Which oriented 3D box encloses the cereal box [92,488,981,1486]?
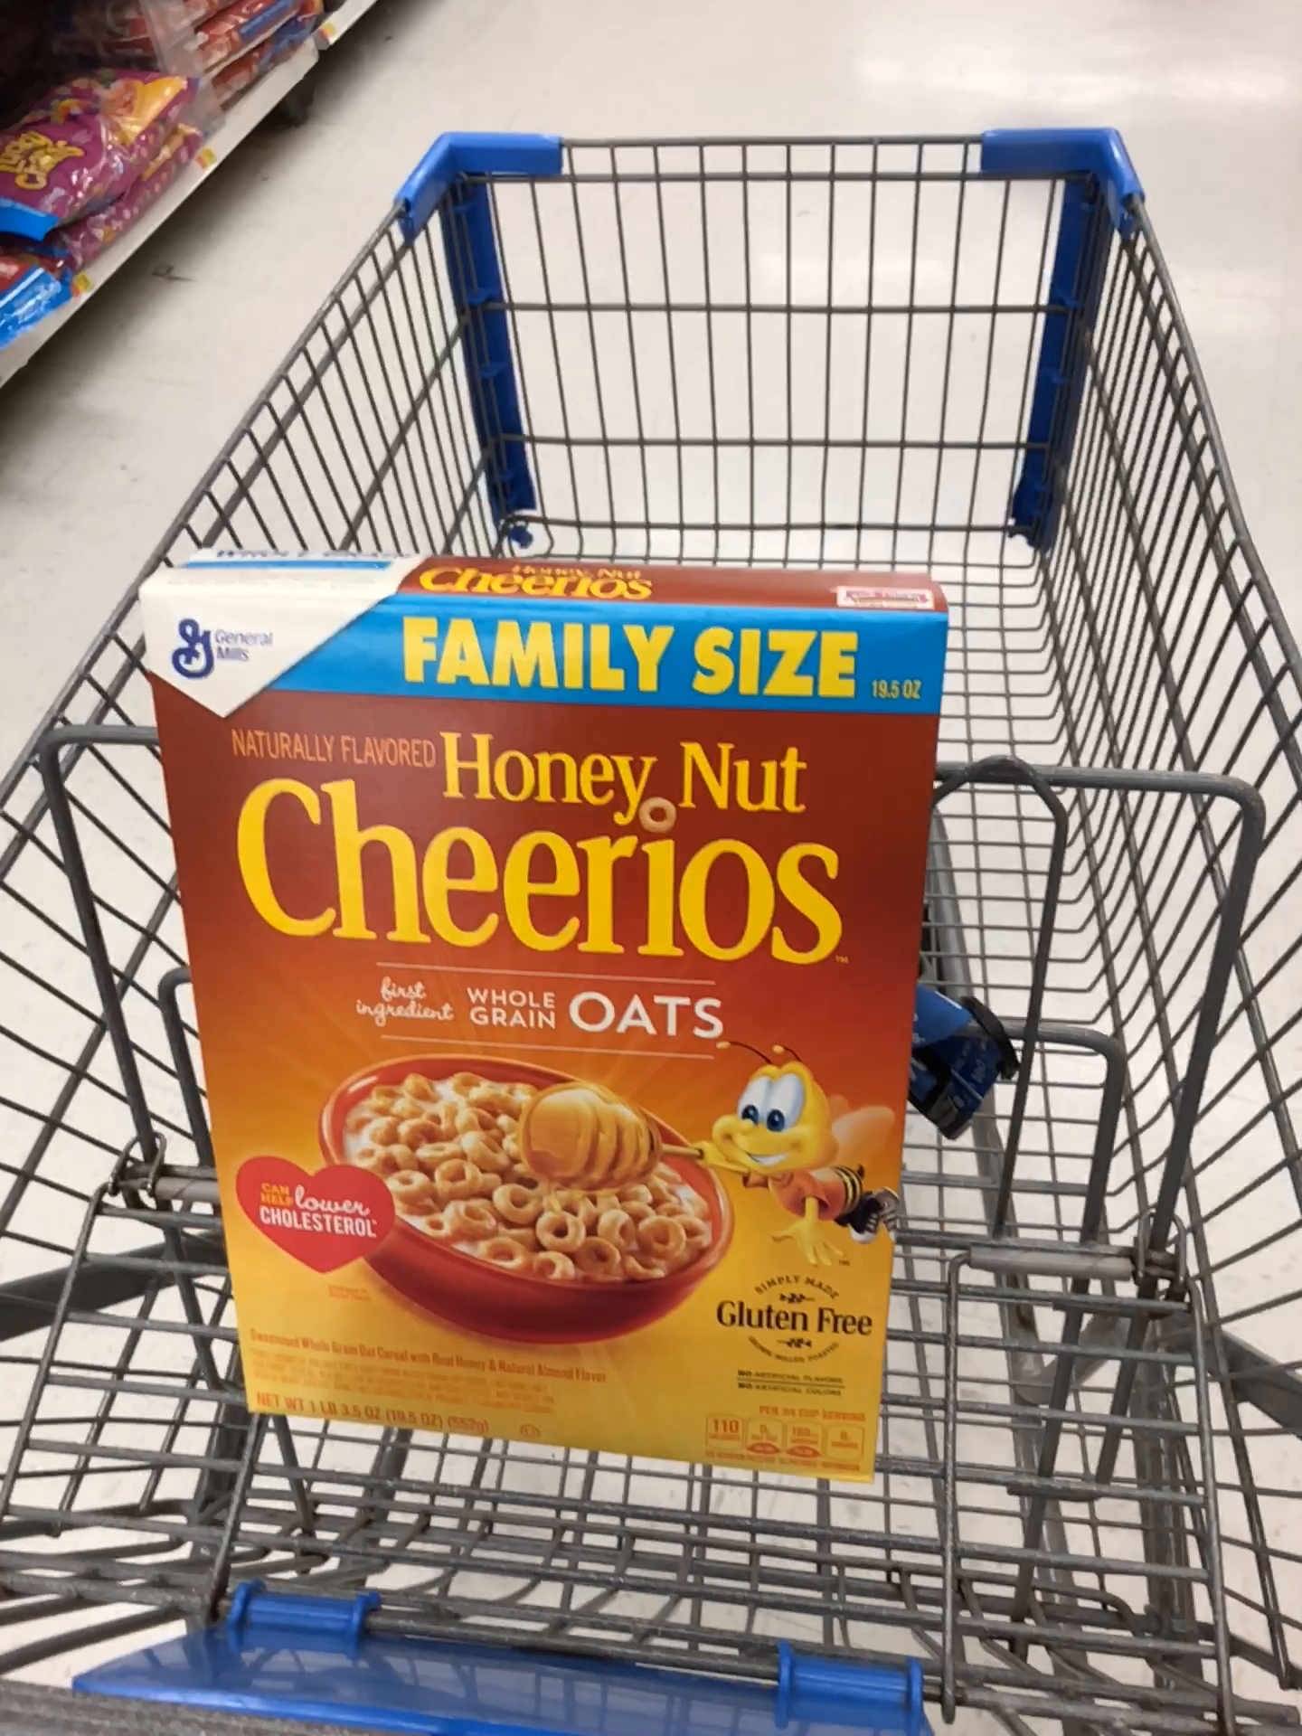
[{"bbox_3d":[-0.032,0.047,0.492,0.250,0.330,0.070,3,24,8],"label":"cereal box"}]
